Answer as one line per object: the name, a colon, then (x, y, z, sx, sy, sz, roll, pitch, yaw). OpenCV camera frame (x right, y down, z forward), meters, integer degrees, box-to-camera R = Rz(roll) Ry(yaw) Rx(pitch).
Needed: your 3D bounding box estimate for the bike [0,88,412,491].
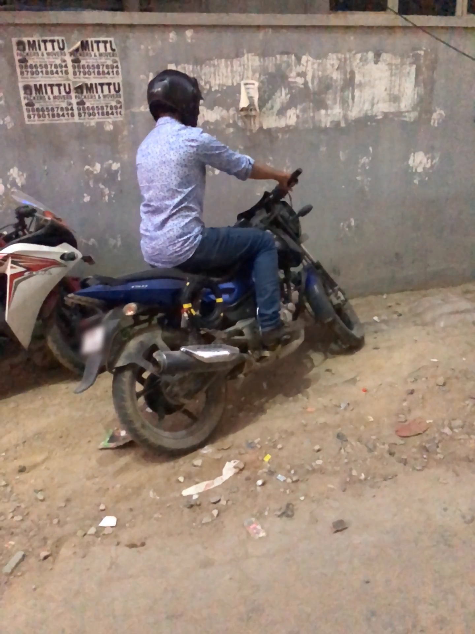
bike: (-0.059, -0.305, 2.585, 1.093, 1.113, 1.509, 12, 33, 35)
